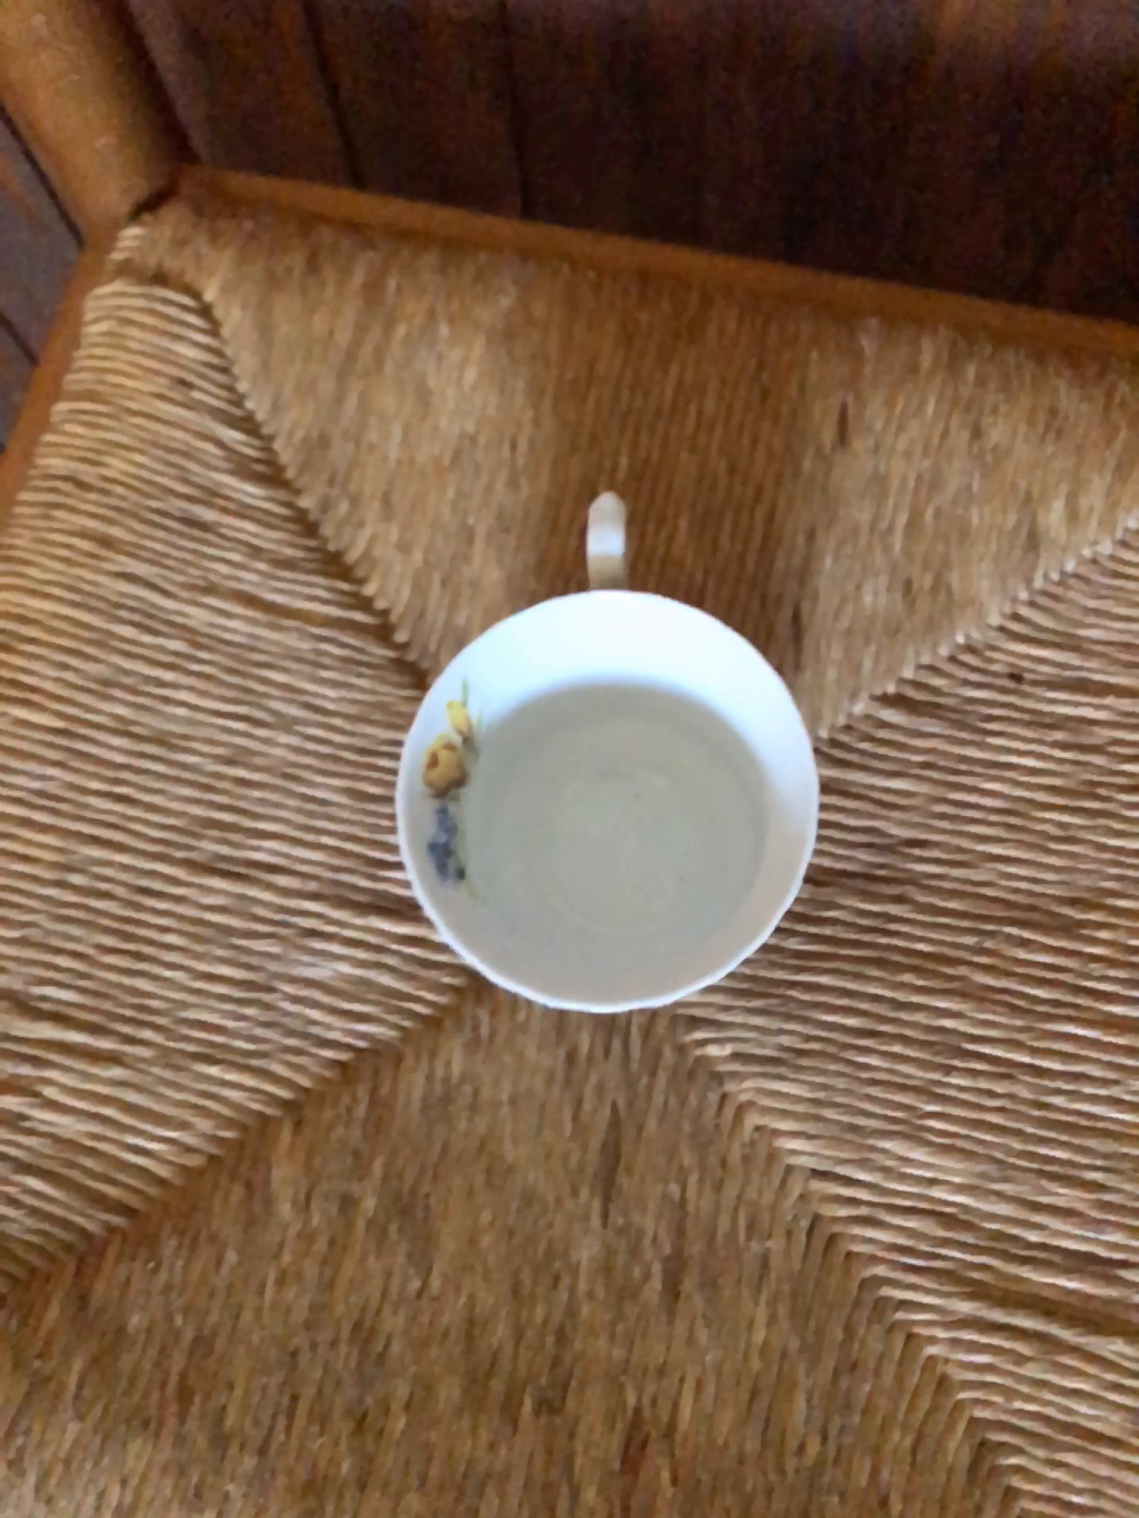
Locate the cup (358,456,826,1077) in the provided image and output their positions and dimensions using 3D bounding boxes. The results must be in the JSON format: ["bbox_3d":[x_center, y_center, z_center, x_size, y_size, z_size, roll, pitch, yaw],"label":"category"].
[{"bbox_3d":[0.006,0.006,0.297,0.090,0.070,0.130,-1,73,2],"label":"cup"}]
